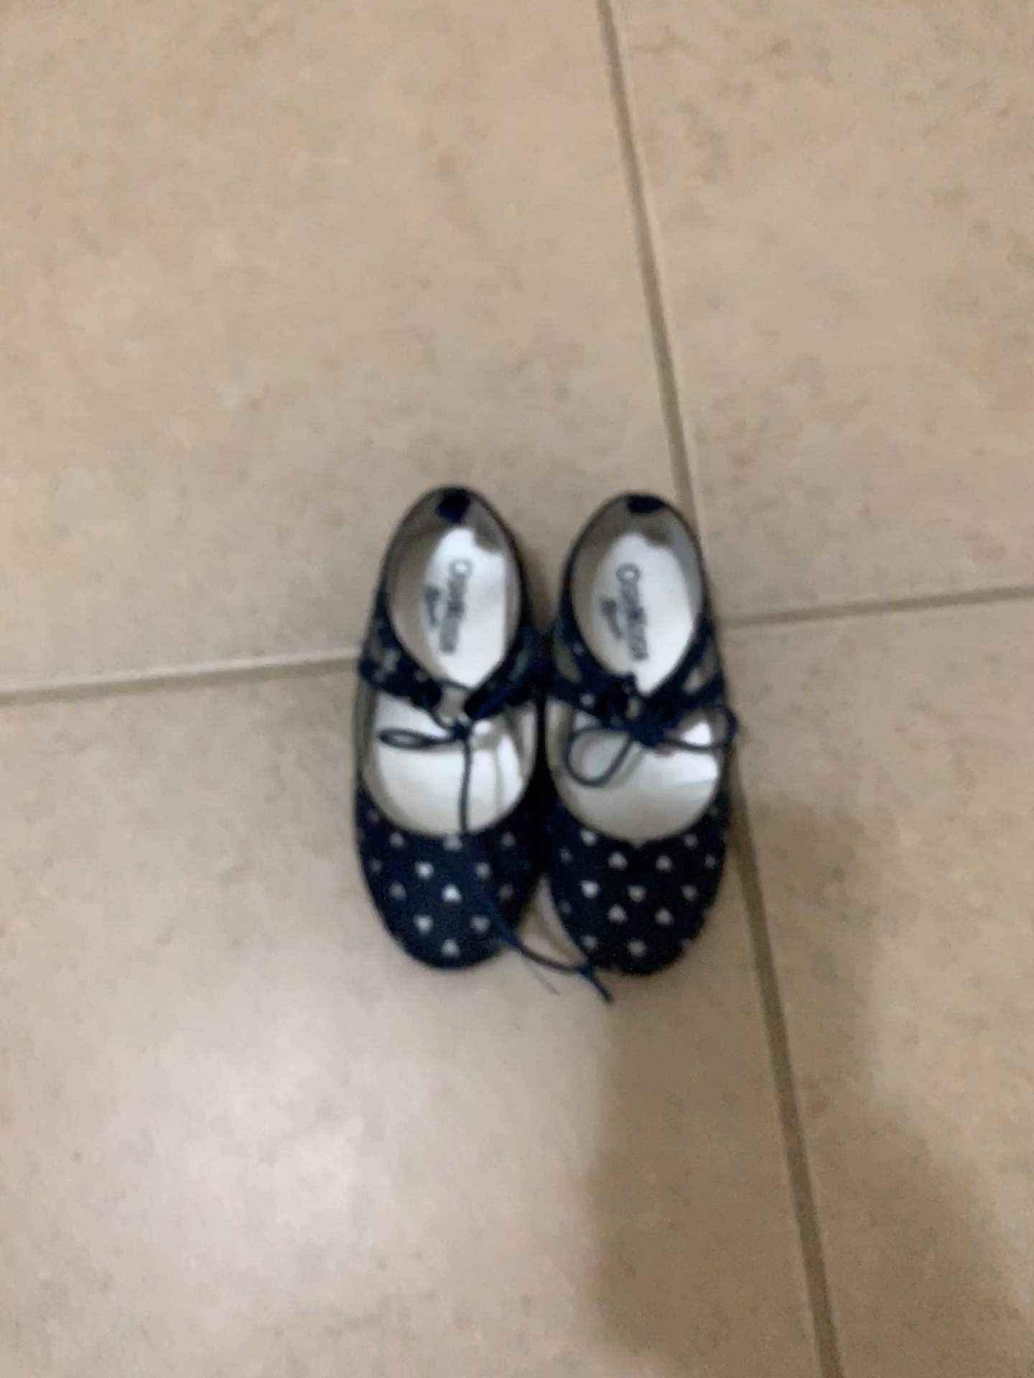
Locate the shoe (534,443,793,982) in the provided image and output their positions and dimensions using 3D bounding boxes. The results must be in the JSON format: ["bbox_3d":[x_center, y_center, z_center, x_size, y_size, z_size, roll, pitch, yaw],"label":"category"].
[{"bbox_3d":[0.043,0.009,0.367,0.070,0.062,0.171,-1,73,0],"label":"shoe"}]

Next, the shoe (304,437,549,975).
[{"bbox_3d":[-0.027,0.007,0.368,0.070,0.062,0.171,-1,73,0],"label":"shoe"}]
